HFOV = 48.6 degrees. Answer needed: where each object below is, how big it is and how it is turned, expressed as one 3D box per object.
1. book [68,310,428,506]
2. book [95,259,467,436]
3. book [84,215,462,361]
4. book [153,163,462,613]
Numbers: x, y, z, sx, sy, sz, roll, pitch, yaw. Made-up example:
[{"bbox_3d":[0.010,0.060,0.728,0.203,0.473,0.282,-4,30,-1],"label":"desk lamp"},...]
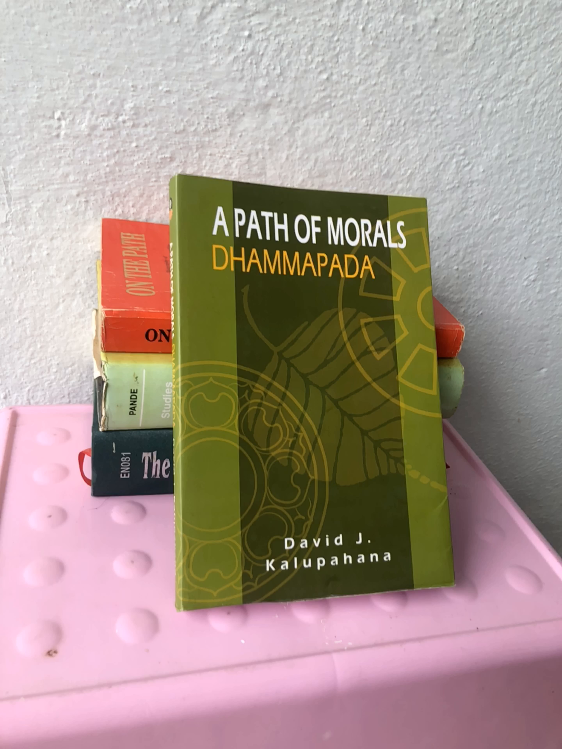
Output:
[{"bbox_3d":[-0.031,0.013,0.436,0.210,0.050,0.161,0,30,-14],"label":"book"},{"bbox_3d":[-0.013,-0.026,0.414,0.210,0.040,0.161,0,30,-16],"label":"book"},{"bbox_3d":[-0.017,-0.062,0.408,0.210,0.030,0.161,-1,30,-16],"label":"book"},{"bbox_3d":[0.011,0.005,0.329,0.150,0.210,0.040,1,-10,-17],"label":"book"}]
